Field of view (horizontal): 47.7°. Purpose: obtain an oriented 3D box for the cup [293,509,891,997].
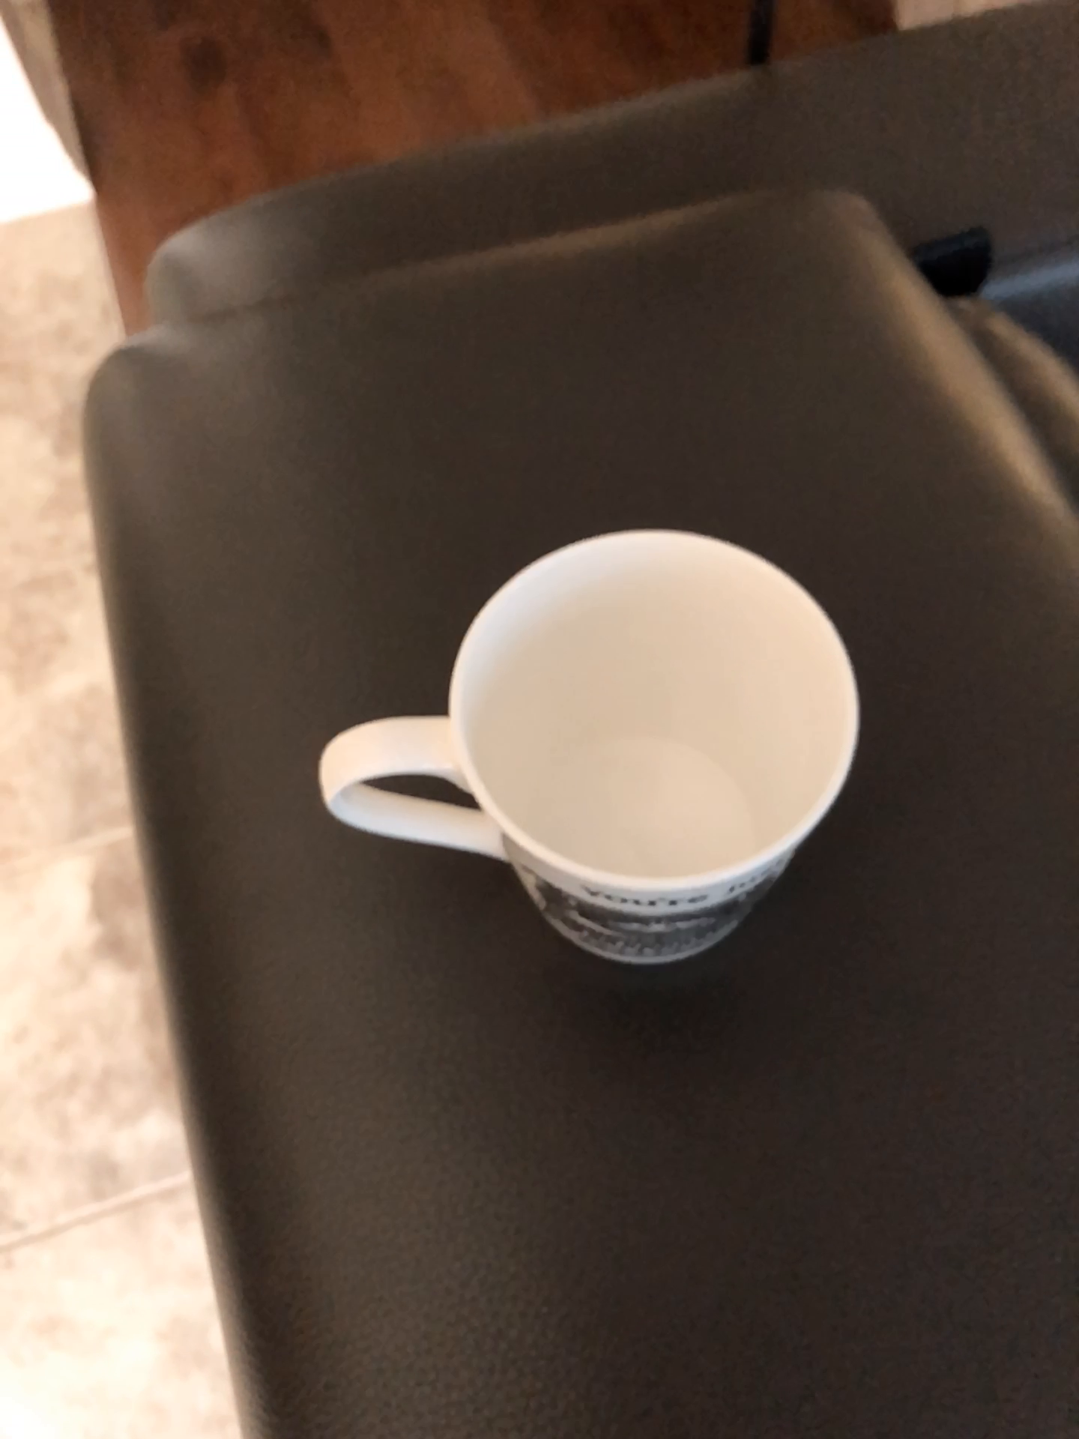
[{"bbox_3d":[0.009,0.012,0.297,0.117,0.089,0.081,-3,63,0],"label":"cup"}]
